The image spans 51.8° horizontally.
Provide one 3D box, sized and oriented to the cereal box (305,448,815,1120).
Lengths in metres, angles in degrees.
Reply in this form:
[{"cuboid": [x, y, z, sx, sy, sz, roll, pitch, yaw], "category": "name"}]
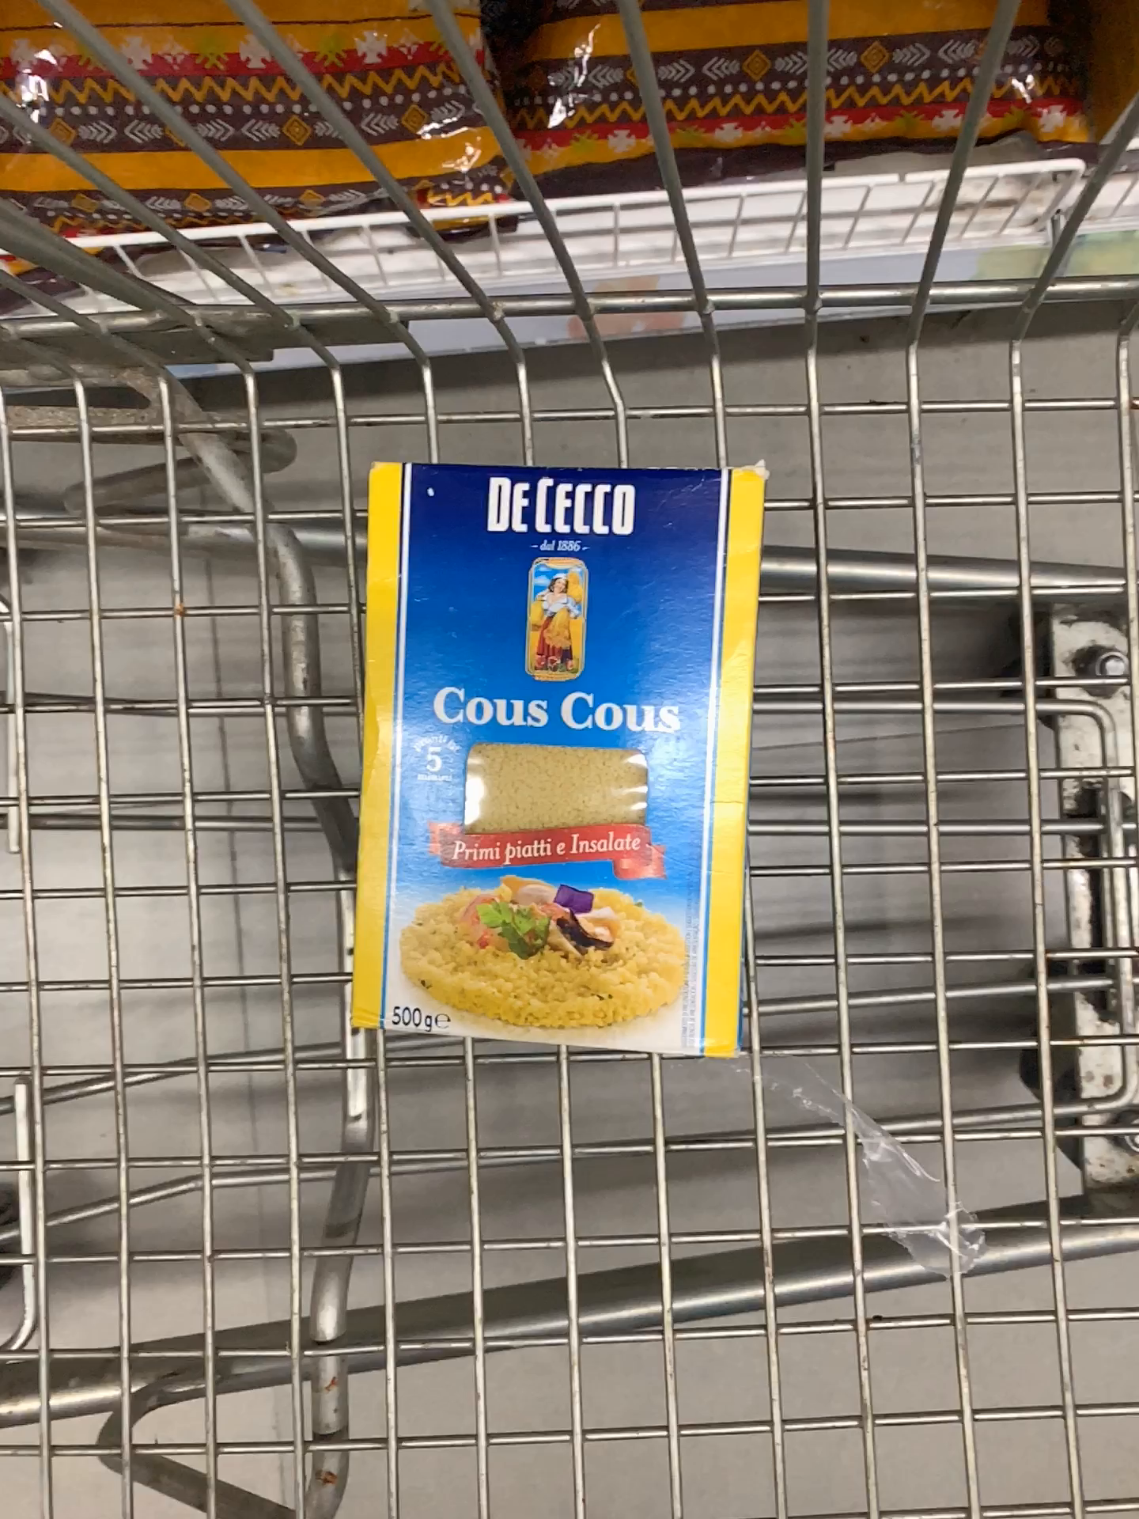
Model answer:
[{"cuboid": [-0.001, 0.004, 0.314, 0.120, 0.050, 0.160, 3, 91, 8], "category": "cereal box"}]
